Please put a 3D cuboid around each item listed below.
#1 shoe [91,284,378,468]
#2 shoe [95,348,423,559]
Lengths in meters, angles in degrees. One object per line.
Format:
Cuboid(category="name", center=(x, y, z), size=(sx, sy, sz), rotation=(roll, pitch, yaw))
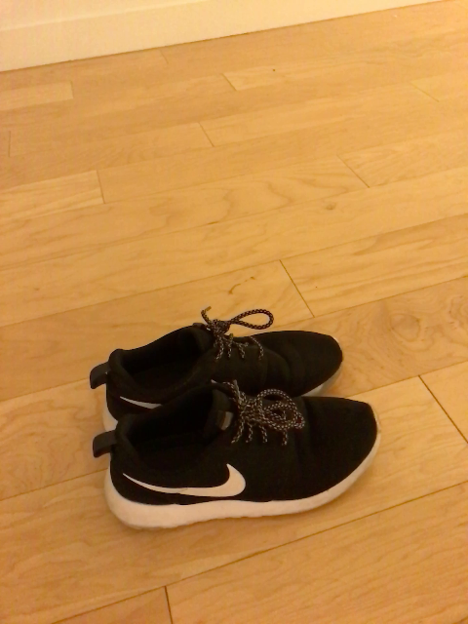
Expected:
Cuboid(category="shoe", center=(-0.006, 0.062, 0.538), size=(0.270, 0.070, 0.131), rotation=(-10, 44, -5))
Cuboid(category="shoe", center=(0.015, 0.126, 0.473), size=(0.270, 0.070, 0.121), rotation=(-10, 44, -5))
